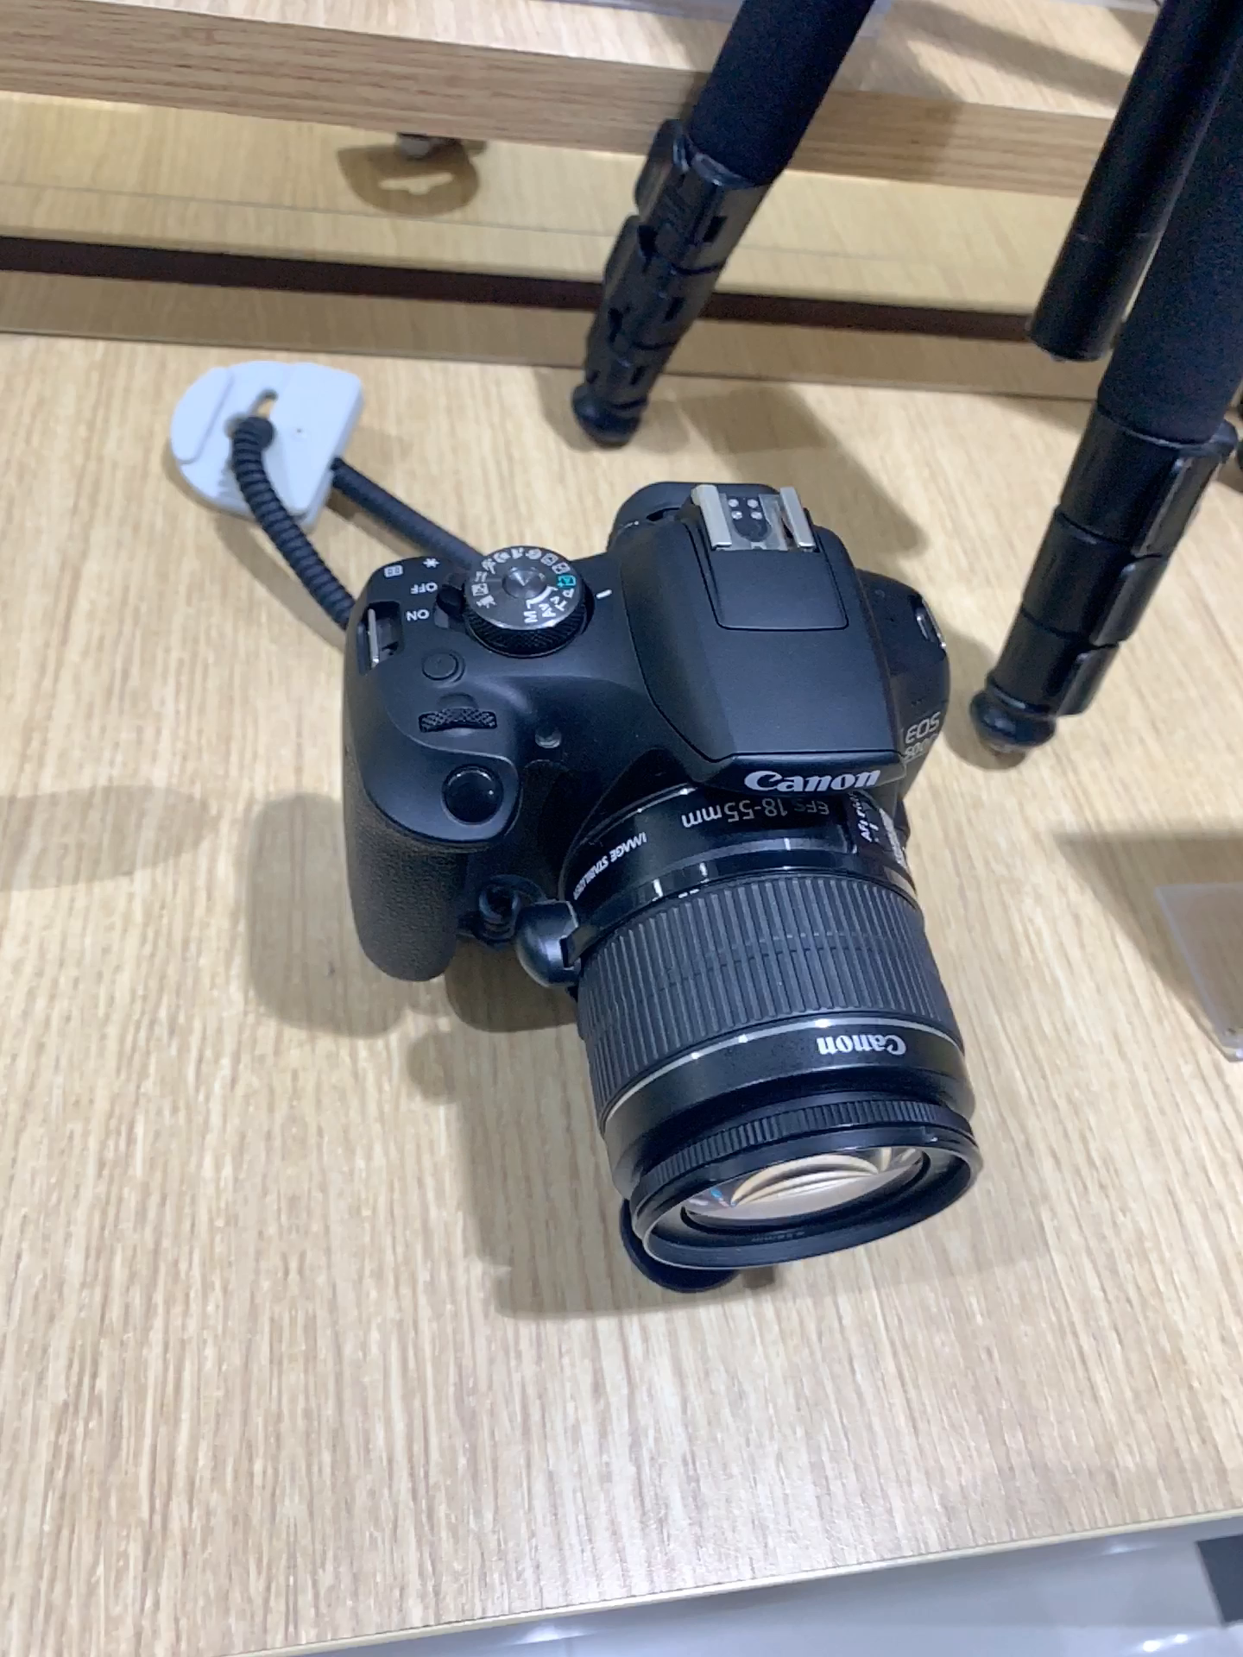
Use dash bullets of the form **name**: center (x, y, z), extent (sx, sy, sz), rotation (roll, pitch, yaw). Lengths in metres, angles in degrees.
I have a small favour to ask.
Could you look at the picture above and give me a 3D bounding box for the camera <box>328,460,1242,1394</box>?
- **camera**: center (0.011, 0.012, 0.243), extent (0.121, 0.088, 0.140), rotation (-3, 53, -14)
